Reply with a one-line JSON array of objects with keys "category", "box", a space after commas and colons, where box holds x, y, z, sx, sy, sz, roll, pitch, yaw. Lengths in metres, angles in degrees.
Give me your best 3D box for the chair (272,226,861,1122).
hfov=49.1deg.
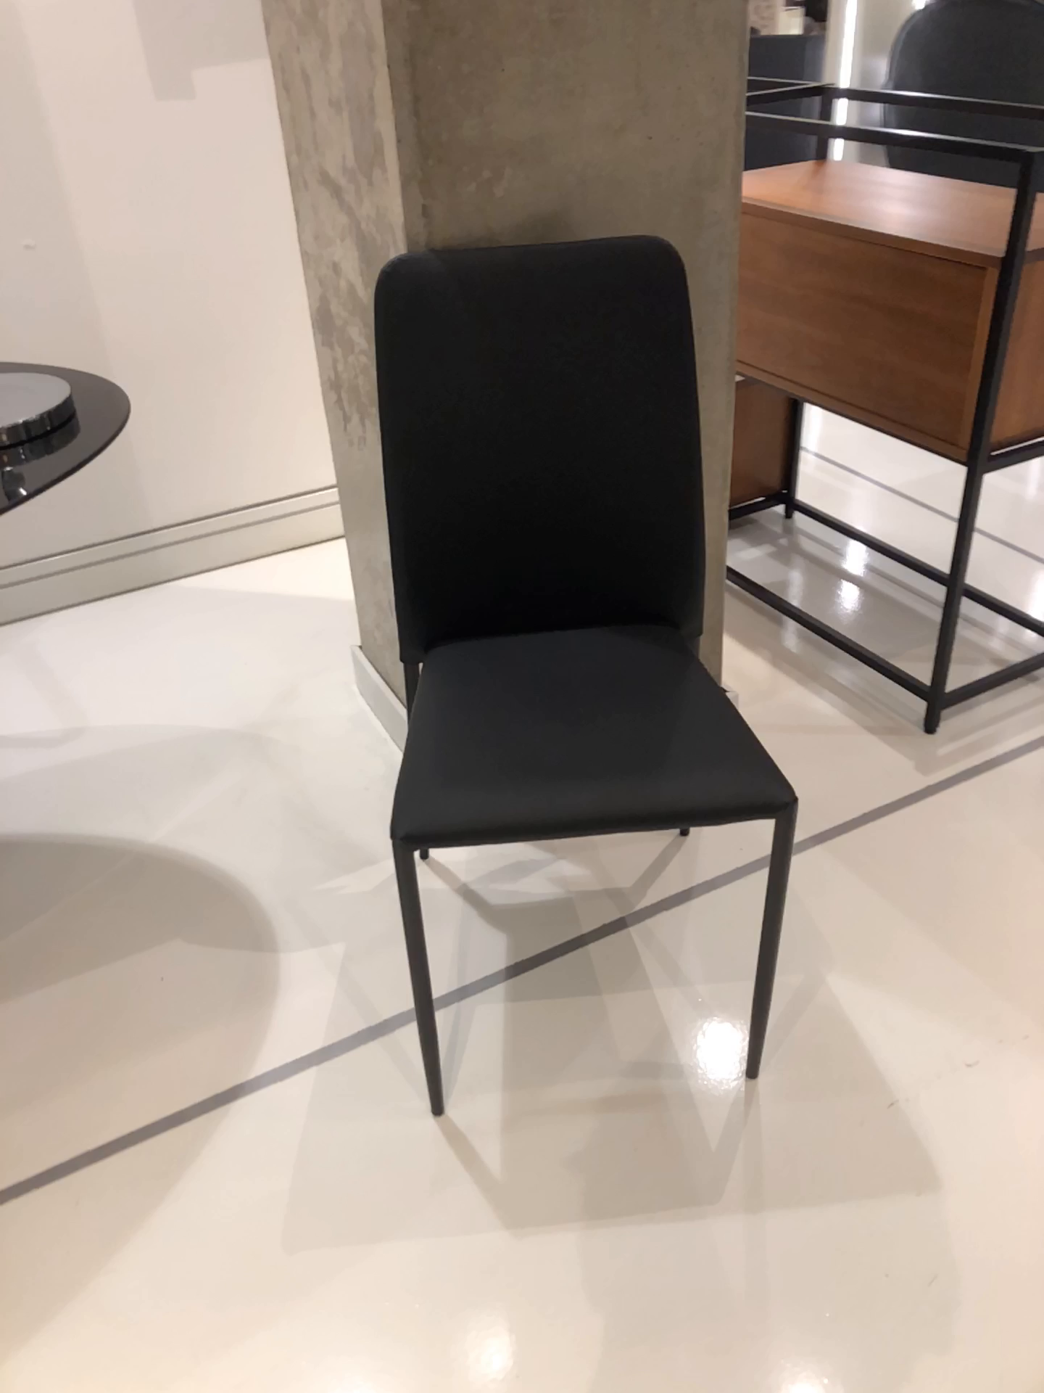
[{"category": "chair", "box": [0.047, -0.026, 1.375, 0.470, 0.883, 0.544, -5, 33, -1]}]
